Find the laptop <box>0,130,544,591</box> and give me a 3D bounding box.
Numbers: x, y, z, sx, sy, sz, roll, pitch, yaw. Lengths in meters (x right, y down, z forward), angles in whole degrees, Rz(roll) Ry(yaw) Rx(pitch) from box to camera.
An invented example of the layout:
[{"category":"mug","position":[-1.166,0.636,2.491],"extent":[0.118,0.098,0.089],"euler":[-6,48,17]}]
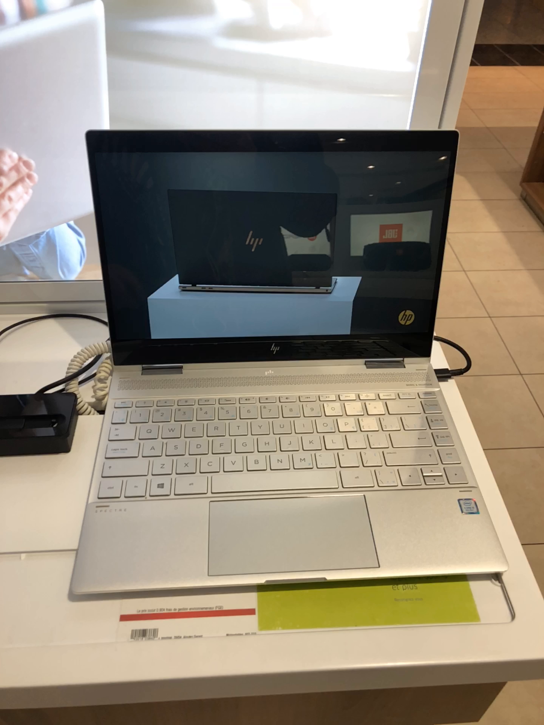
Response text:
[{"category":"laptop","position":[0.010,-0.020,0.447],"extent":[0.299,0.193,0.283],"euler":[-2,42,-3]}]
